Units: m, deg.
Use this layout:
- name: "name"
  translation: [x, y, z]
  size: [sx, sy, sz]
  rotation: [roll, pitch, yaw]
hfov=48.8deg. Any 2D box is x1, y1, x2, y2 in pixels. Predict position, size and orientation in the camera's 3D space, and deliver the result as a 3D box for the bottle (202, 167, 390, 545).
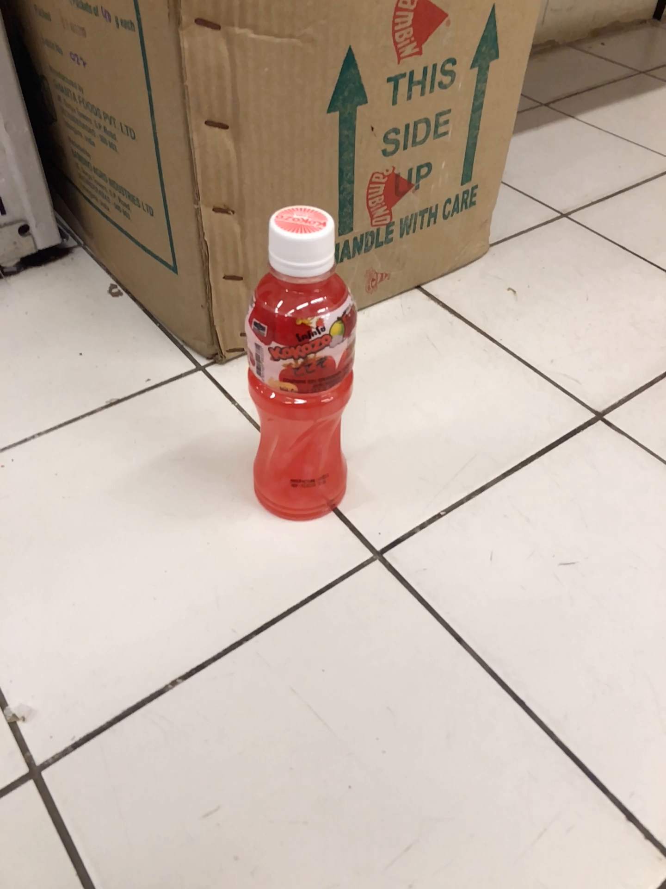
- name: "bottle"
  translation: [-0.020, -0.037, 0.389]
  size: [0.060, 0.189, 0.060]
  rotation: [1, 46, -1]
